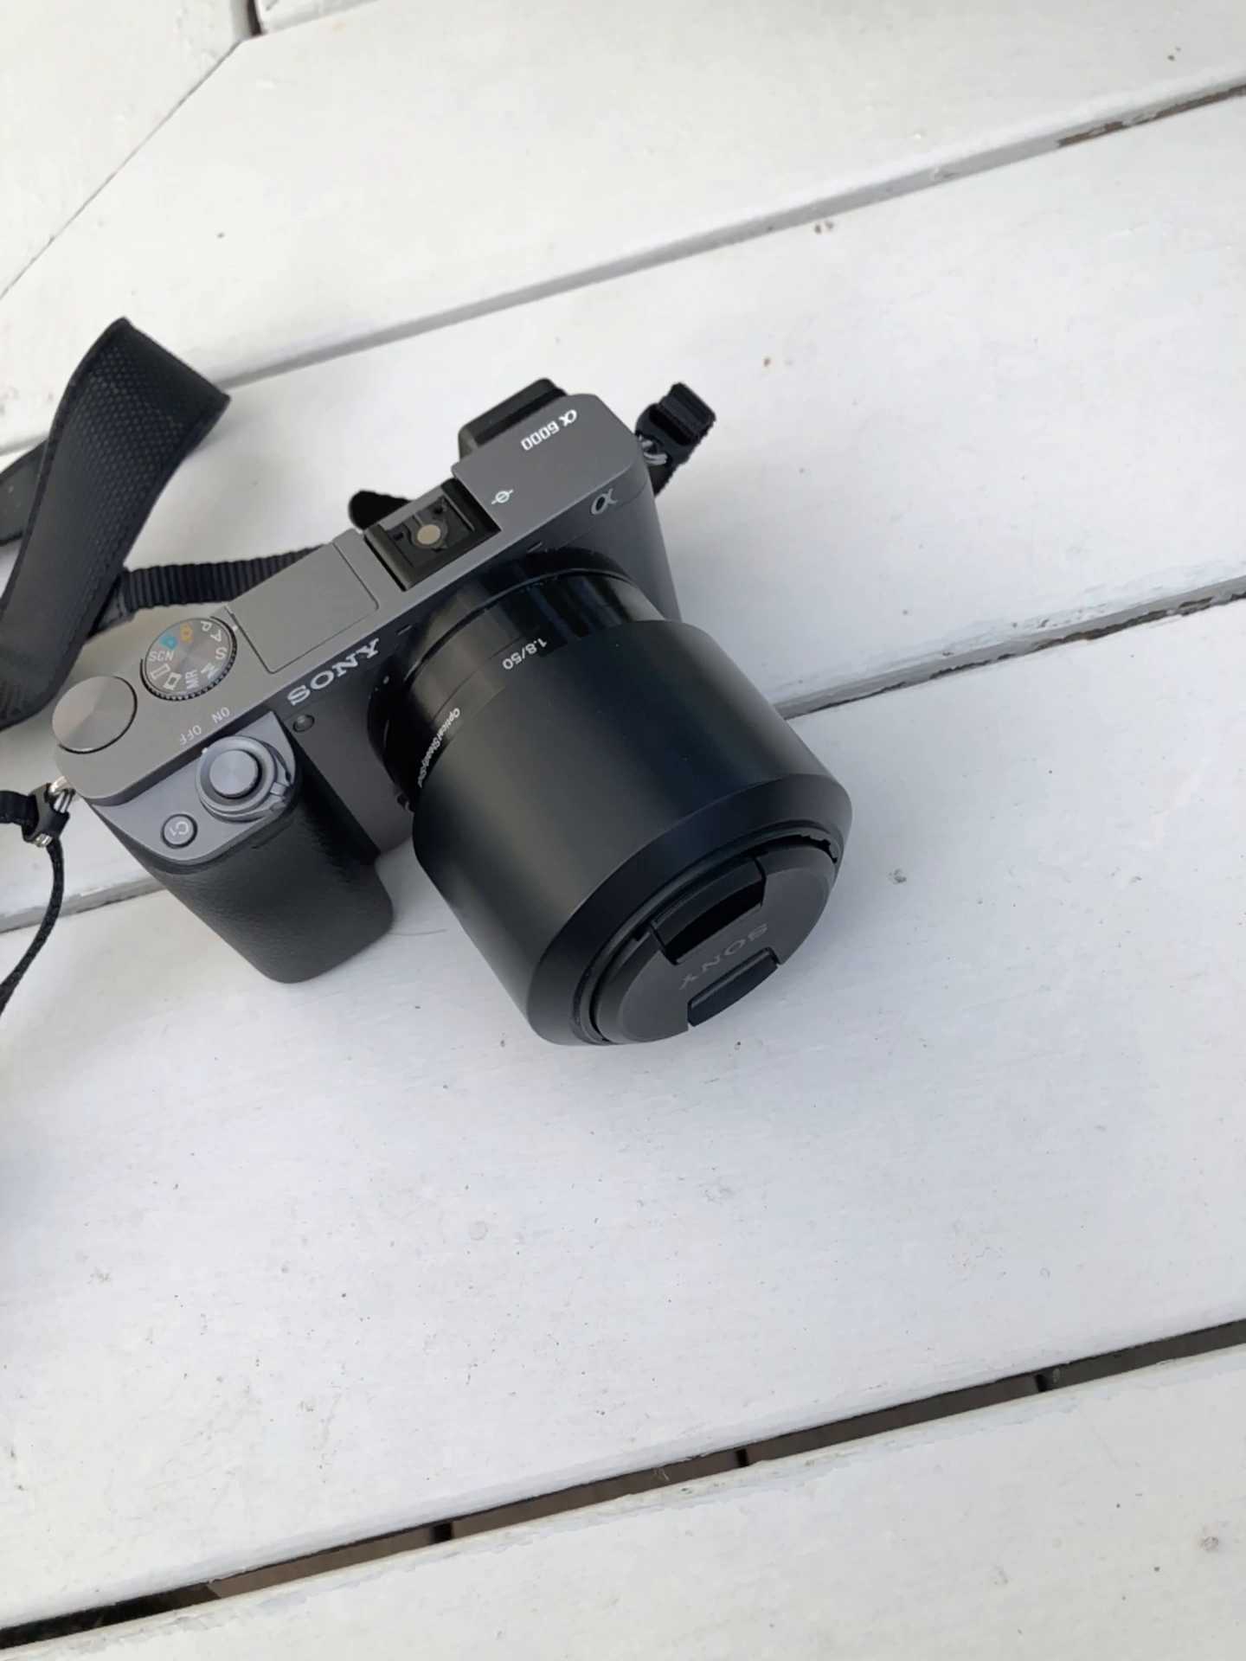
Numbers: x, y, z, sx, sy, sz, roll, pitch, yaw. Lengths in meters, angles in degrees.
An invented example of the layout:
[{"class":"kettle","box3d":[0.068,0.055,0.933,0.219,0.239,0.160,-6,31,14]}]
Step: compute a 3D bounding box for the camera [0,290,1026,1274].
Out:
[{"class":"camera","box3d":[-0.020,-0.011,0.262,0.140,0.070,0.110,-34,62,-9]}]
